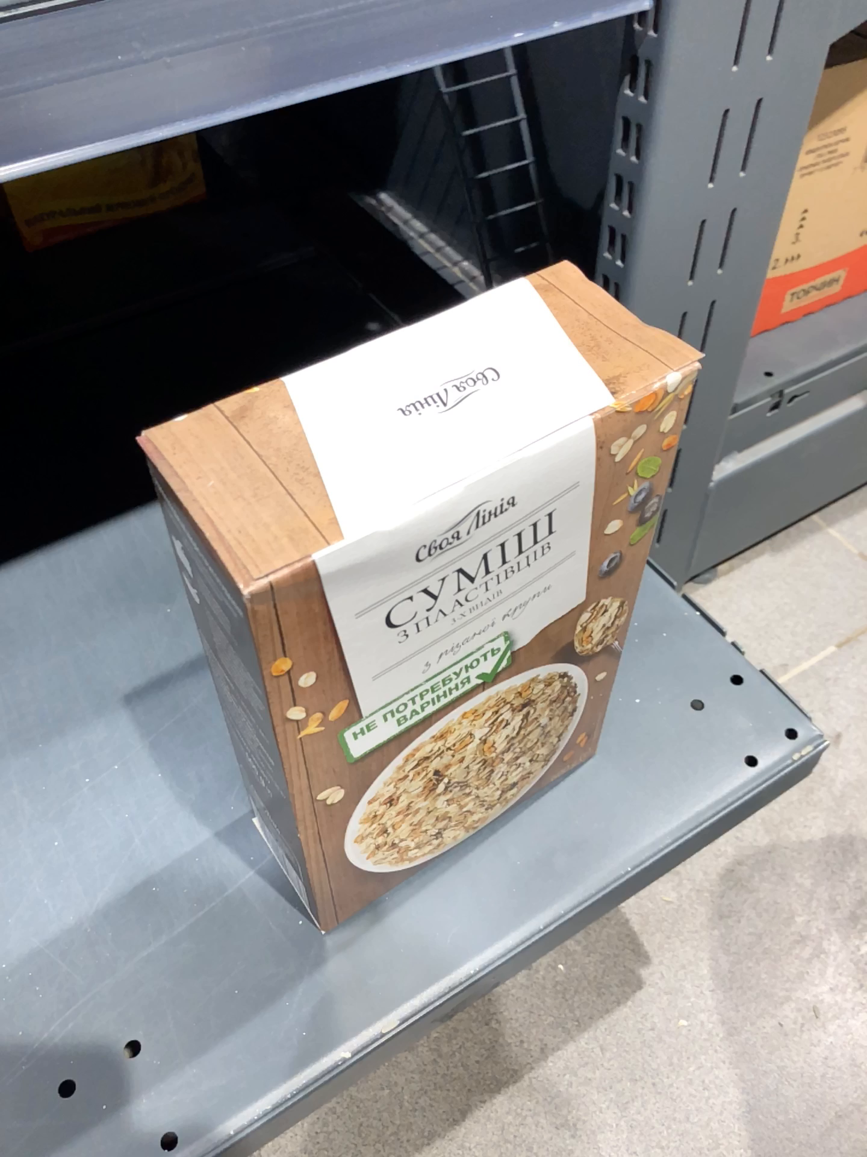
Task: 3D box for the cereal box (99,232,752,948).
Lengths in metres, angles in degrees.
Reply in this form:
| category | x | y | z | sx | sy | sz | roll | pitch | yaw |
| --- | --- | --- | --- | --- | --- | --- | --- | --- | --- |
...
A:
| category | x | y | z | sx | sy | sz | roll | pitch | yaw |
| --- | --- | --- | --- | --- | --- | --- | --- | --- | --- |
| cereal box | 0.002 | 0.016 | 0.324 | 0.160 | 0.208 | 0.060 | -28 | 55 | -22 |
